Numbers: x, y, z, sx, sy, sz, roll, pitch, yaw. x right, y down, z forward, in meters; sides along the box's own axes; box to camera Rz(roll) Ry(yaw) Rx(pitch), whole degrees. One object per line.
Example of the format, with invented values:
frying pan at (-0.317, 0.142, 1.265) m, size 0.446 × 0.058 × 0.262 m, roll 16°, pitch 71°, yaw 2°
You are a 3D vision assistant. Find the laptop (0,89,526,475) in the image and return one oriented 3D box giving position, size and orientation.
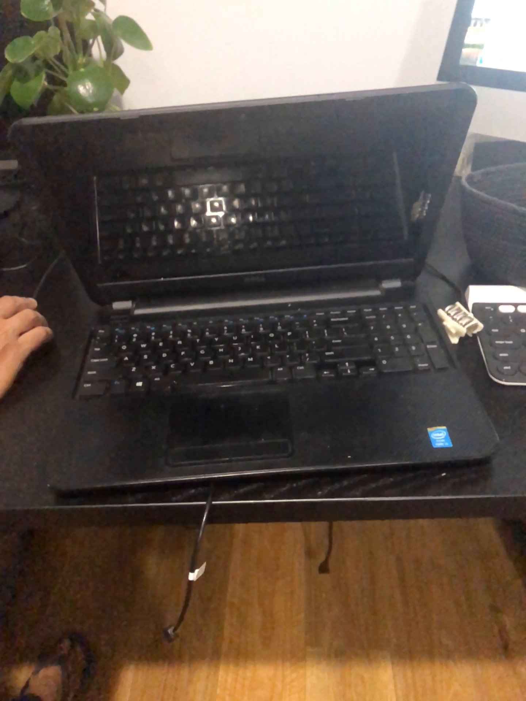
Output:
laptop at (-0.013, -0.060, 0.482) m, size 0.366 × 0.210 × 0.207 m, roll -4°, pitch 39°, yaw 1°
